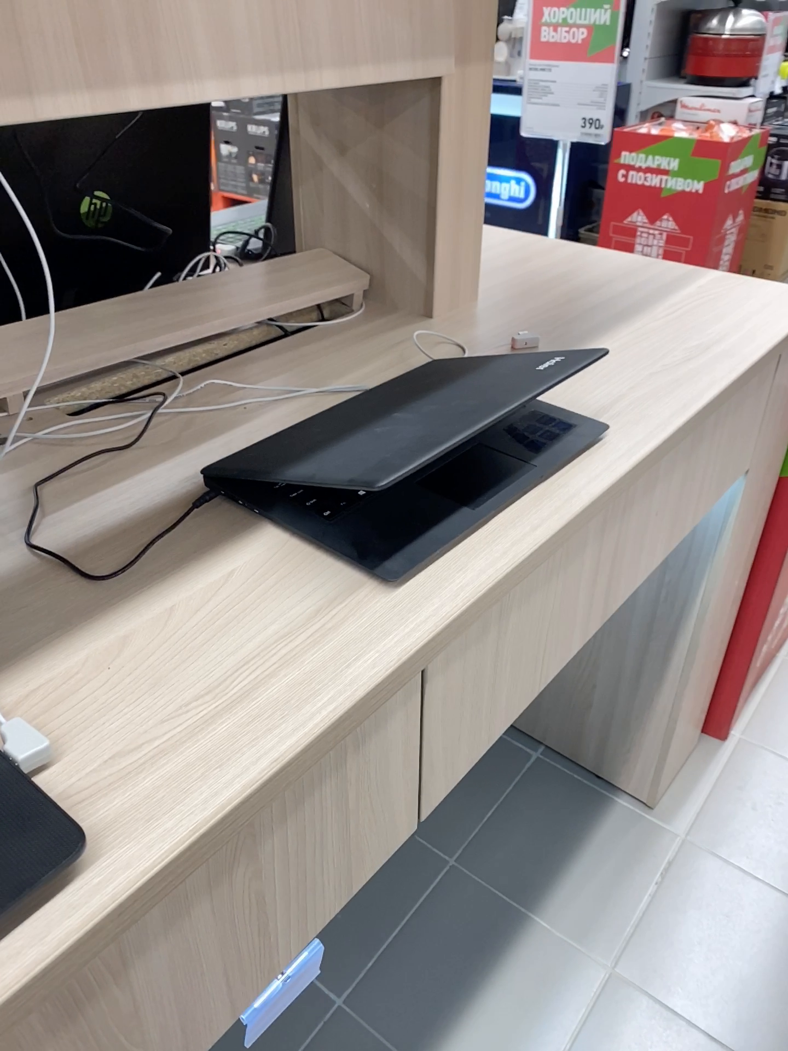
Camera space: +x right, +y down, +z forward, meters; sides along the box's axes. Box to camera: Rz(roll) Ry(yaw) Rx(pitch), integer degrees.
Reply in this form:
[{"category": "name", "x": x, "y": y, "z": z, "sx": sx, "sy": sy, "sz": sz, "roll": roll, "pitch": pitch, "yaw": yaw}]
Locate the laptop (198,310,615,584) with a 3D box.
[{"category": "laptop", "x": 0.023, "y": -0.092, "z": 0.704, "sx": 0.202, "sy": 0.071, "sz": 0.320, "roll": 26, "pitch": 40, "yaw": 32}]
